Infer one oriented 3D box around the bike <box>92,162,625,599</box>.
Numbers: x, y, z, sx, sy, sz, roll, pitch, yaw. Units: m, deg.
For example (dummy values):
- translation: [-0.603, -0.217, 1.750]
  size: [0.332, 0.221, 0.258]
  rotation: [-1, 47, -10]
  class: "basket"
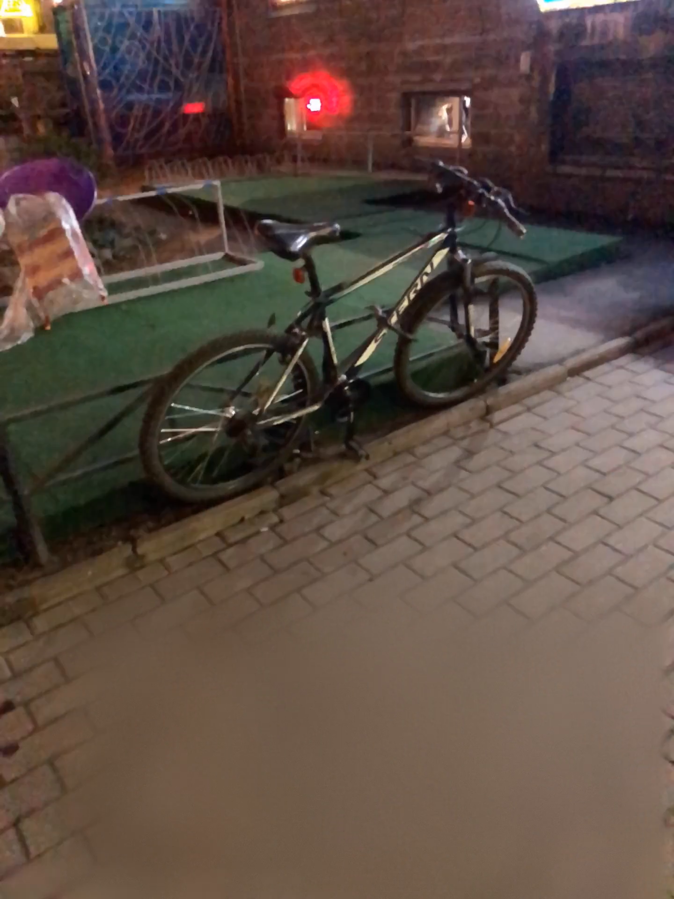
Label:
- translation: [0.149, -0.329, 2.176]
  size: [1.459, 0.883, 0.532]
  rotation: [-19, 29, -32]
  class: "bike"
